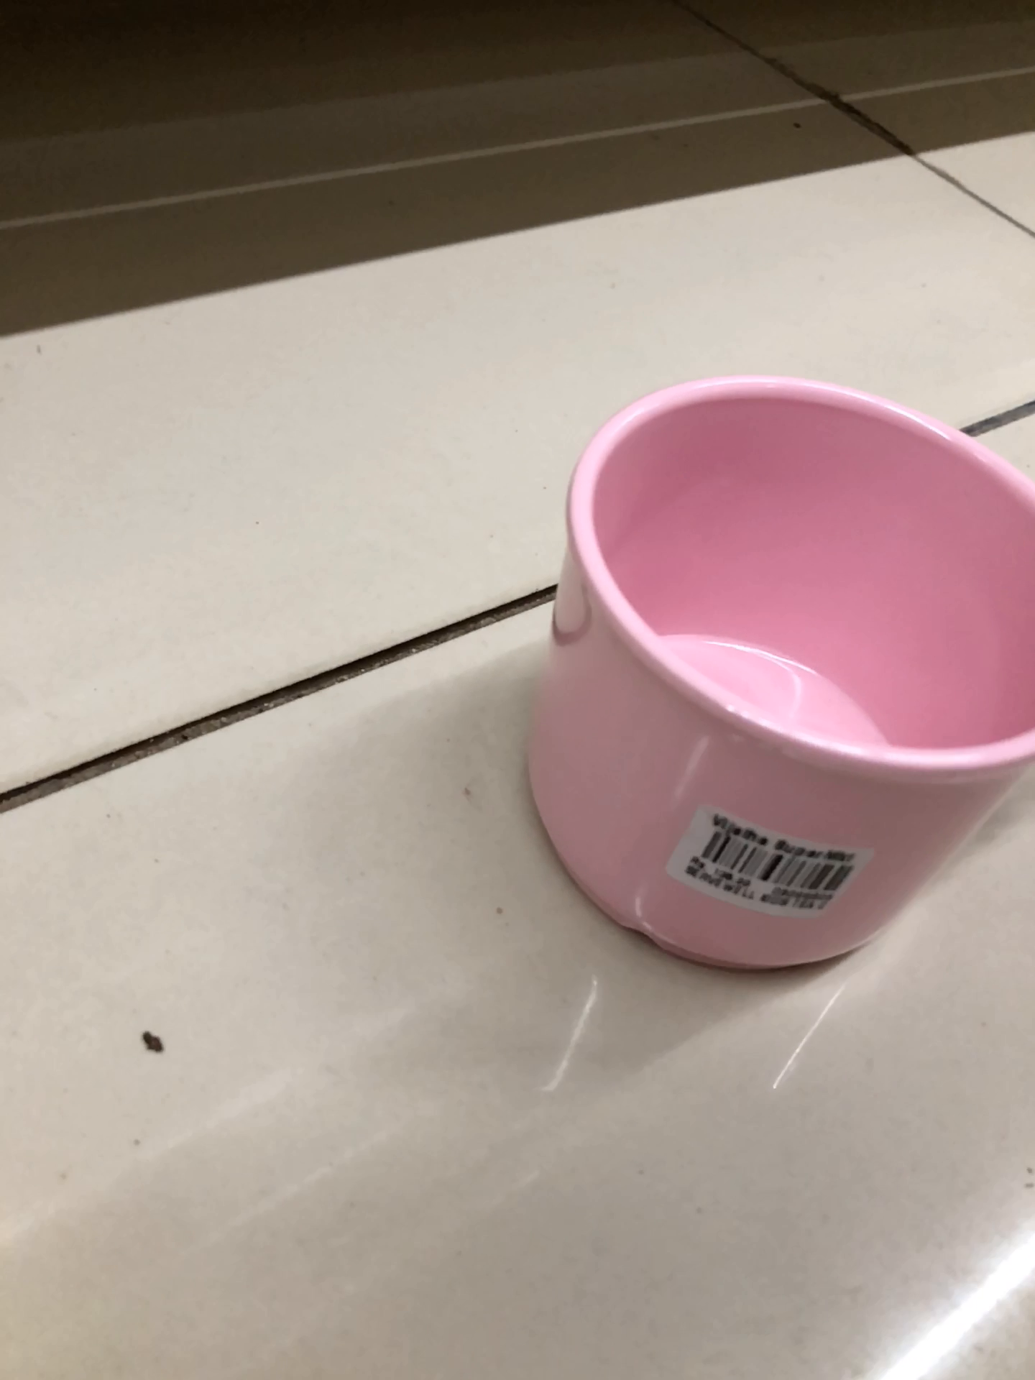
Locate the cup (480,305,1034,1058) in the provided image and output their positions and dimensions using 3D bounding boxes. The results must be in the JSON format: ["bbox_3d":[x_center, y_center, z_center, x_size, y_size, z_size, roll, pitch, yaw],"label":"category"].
[{"bbox_3d":[0.054,0.002,0.183,0.110,0.079,0.080,4,49,-8],"label":"cup"}]
